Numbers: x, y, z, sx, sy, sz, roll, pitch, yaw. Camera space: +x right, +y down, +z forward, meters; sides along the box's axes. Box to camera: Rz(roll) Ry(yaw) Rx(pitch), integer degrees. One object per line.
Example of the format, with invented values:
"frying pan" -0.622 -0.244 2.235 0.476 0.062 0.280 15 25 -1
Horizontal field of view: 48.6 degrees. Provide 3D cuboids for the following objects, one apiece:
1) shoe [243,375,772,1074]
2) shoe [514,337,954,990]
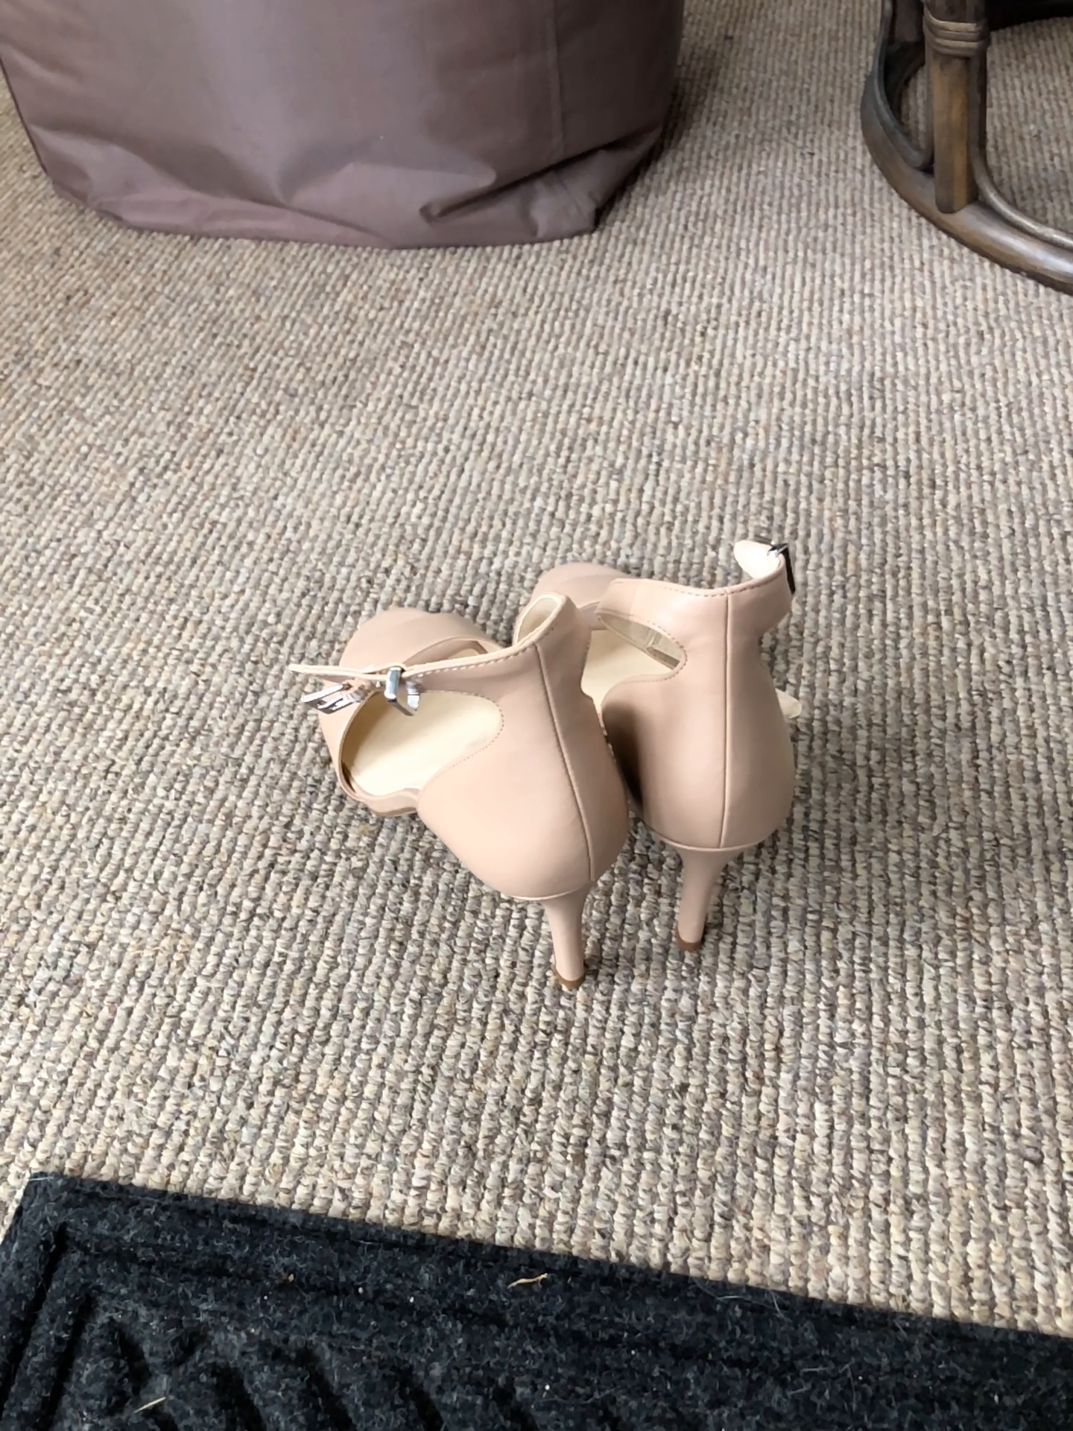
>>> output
"shoe" -0.021 -0.003 0.459 0.105 0.144 0.207 -19 51 -16
"shoe" 0.060 -0.026 0.487 0.099 0.154 0.207 -9 50 -8
